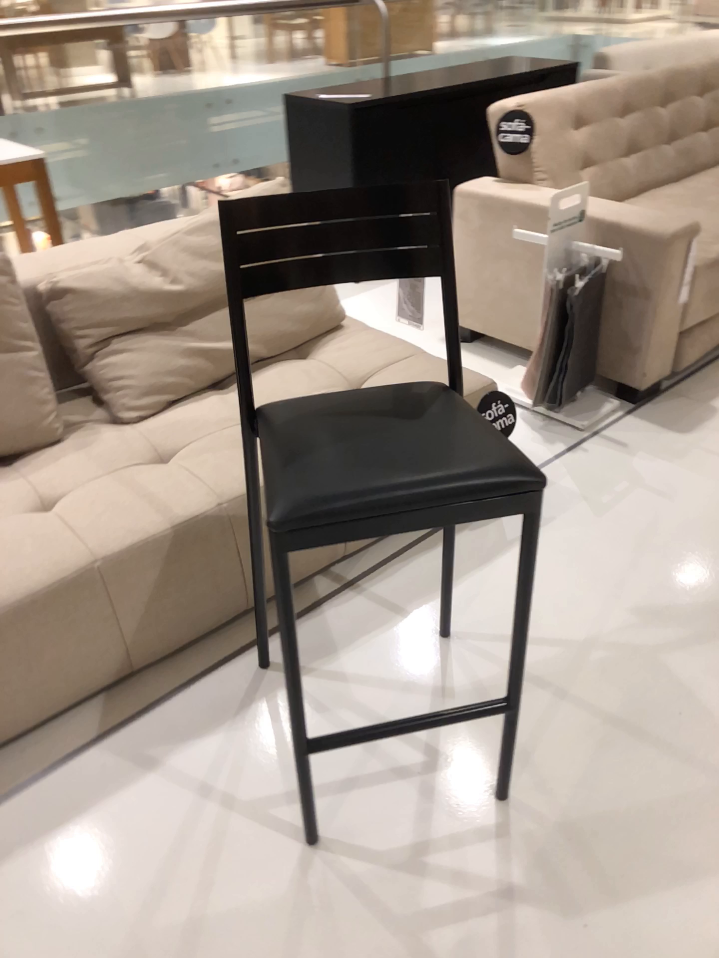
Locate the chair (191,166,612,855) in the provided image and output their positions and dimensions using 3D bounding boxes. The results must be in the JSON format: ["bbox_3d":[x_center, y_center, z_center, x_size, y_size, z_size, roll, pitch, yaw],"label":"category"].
[{"bbox_3d":[0.026,0.062,1.258,0.420,0.942,0.473,-9,34,-10],"label":"chair"}]
